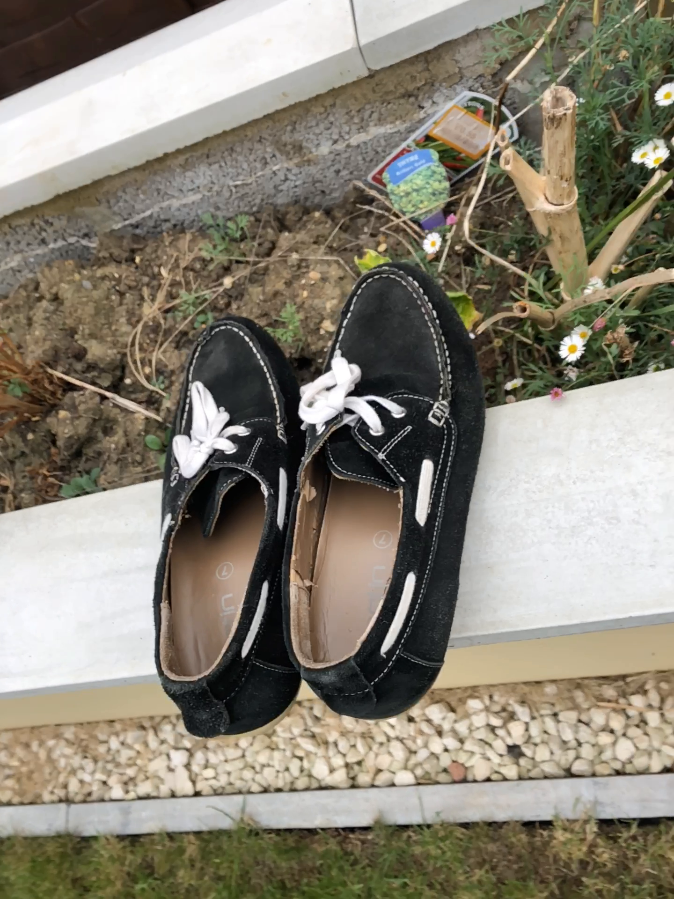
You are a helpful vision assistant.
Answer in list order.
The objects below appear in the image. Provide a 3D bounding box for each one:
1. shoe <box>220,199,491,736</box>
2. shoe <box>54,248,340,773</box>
[{"bbox_3d":[0.024,0.002,0.444,0.110,0.090,0.301,-7,57,21],"label":"shoe"},{"bbox_3d":[-0.085,0.027,0.483,0.120,0.090,0.311,-18,54,16],"label":"shoe"}]
